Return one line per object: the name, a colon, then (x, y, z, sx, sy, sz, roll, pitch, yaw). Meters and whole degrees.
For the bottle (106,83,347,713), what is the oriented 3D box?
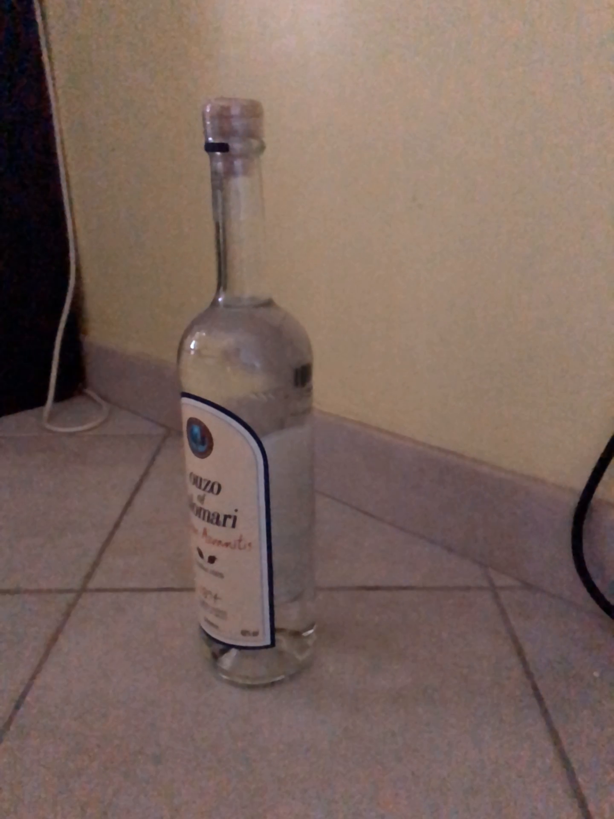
bottle: (-0.035, 0.000, 0.377, 0.080, 0.319, 0.080, -1, 20, 0)
